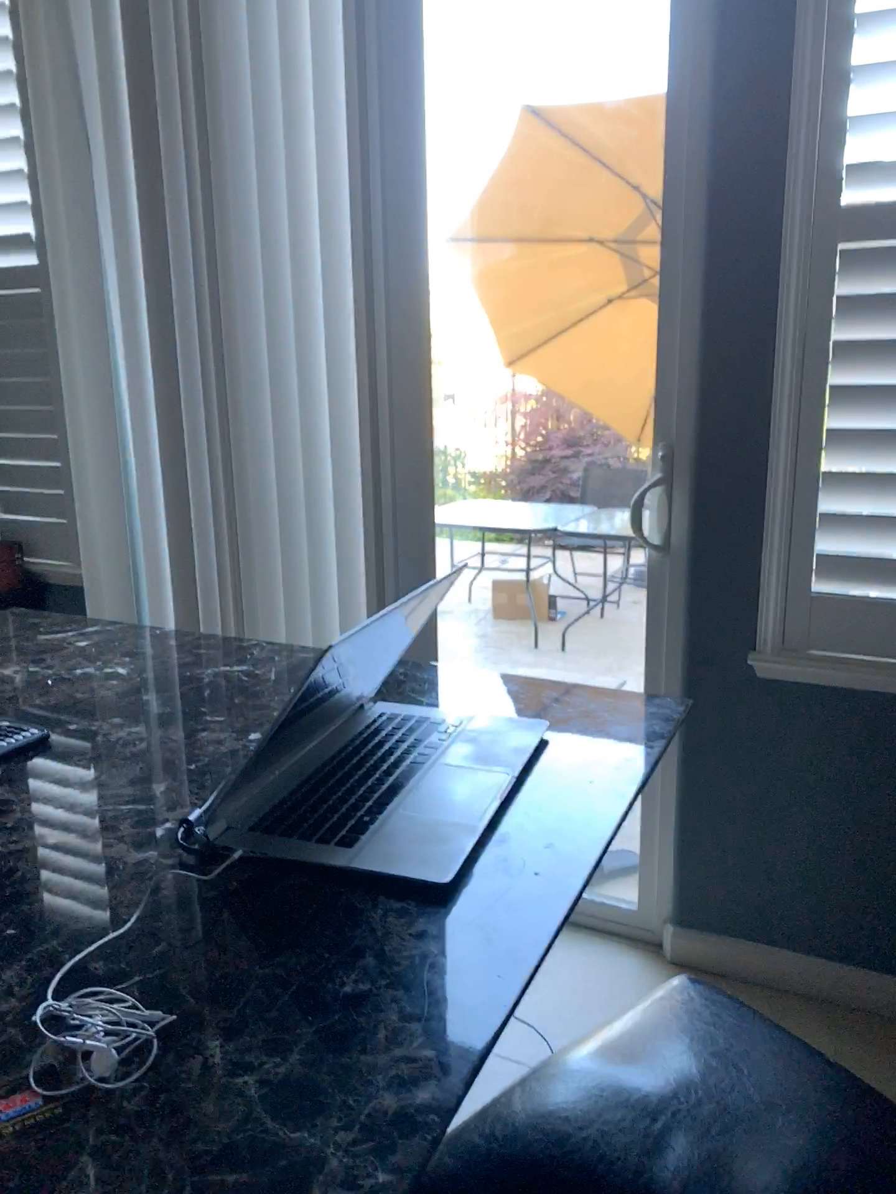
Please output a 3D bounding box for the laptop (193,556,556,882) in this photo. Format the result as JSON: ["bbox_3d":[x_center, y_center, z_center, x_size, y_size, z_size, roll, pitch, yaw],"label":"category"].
[{"bbox_3d":[-0.048,0.092,0.941,0.234,0.188,0.363,4,15,19],"label":"laptop"}]
